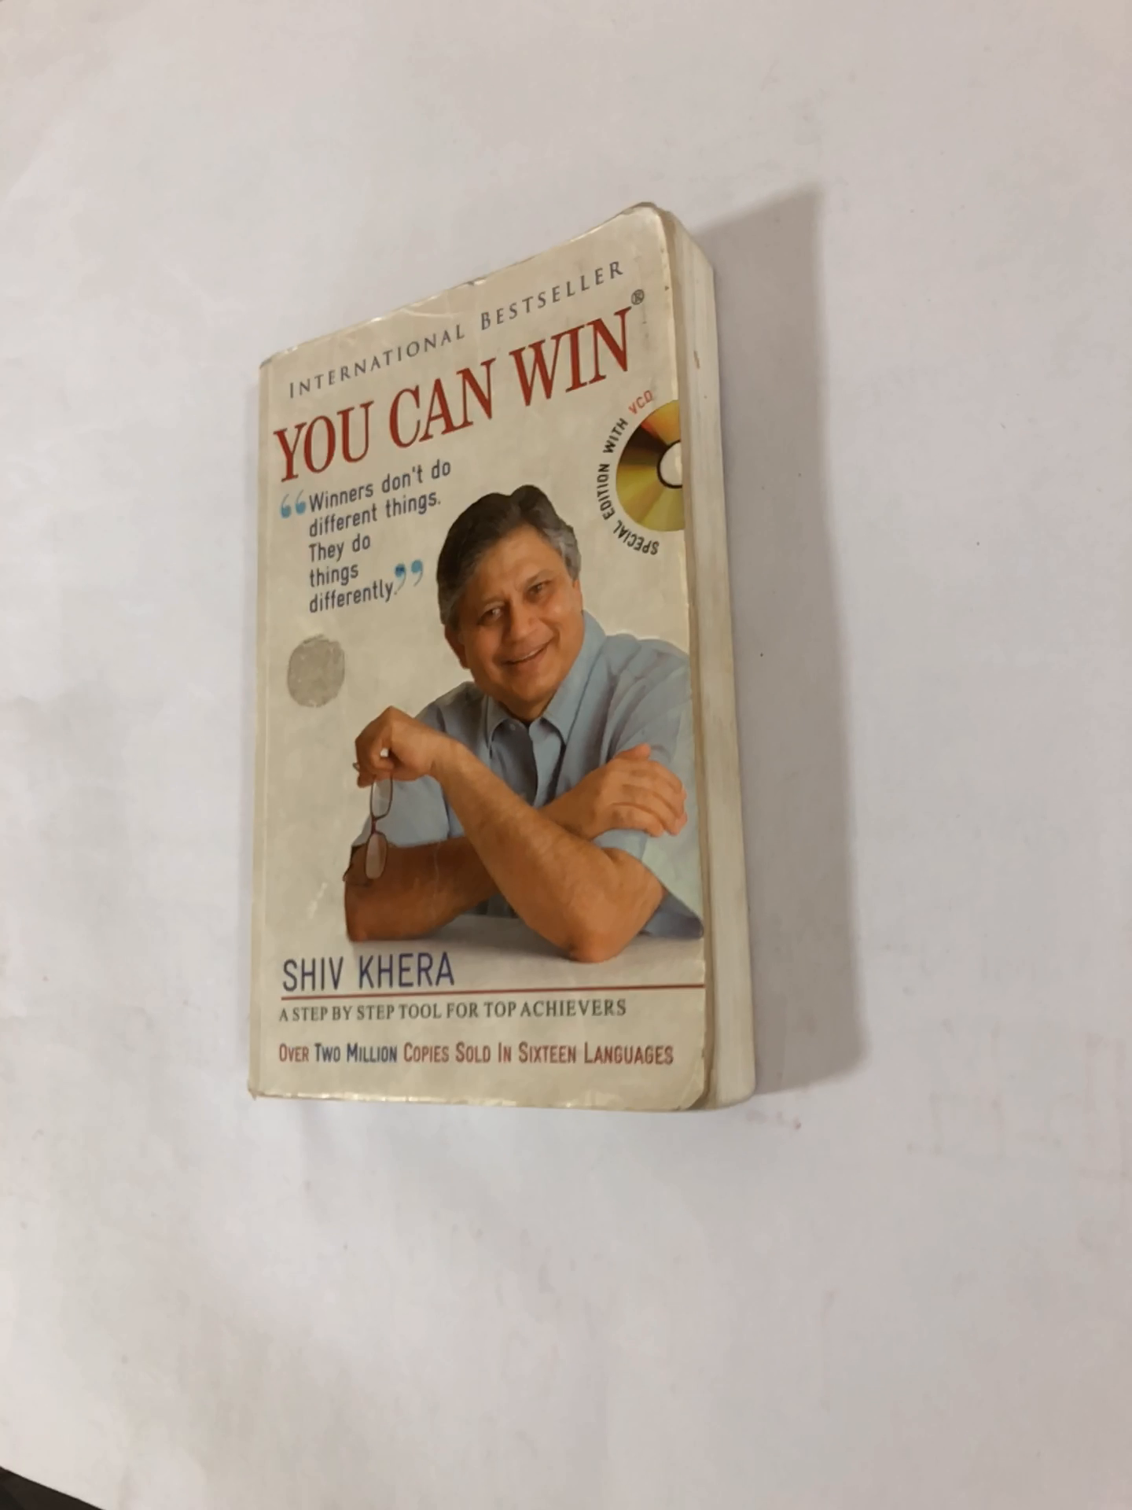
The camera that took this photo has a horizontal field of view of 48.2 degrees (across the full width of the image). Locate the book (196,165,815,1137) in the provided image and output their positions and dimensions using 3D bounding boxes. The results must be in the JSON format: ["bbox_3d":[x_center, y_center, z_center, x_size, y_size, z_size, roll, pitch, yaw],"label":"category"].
[{"bbox_3d":[-0.024,-0.017,0.320,0.151,0.040,0.210,-8,78,30],"label":"book"}]
